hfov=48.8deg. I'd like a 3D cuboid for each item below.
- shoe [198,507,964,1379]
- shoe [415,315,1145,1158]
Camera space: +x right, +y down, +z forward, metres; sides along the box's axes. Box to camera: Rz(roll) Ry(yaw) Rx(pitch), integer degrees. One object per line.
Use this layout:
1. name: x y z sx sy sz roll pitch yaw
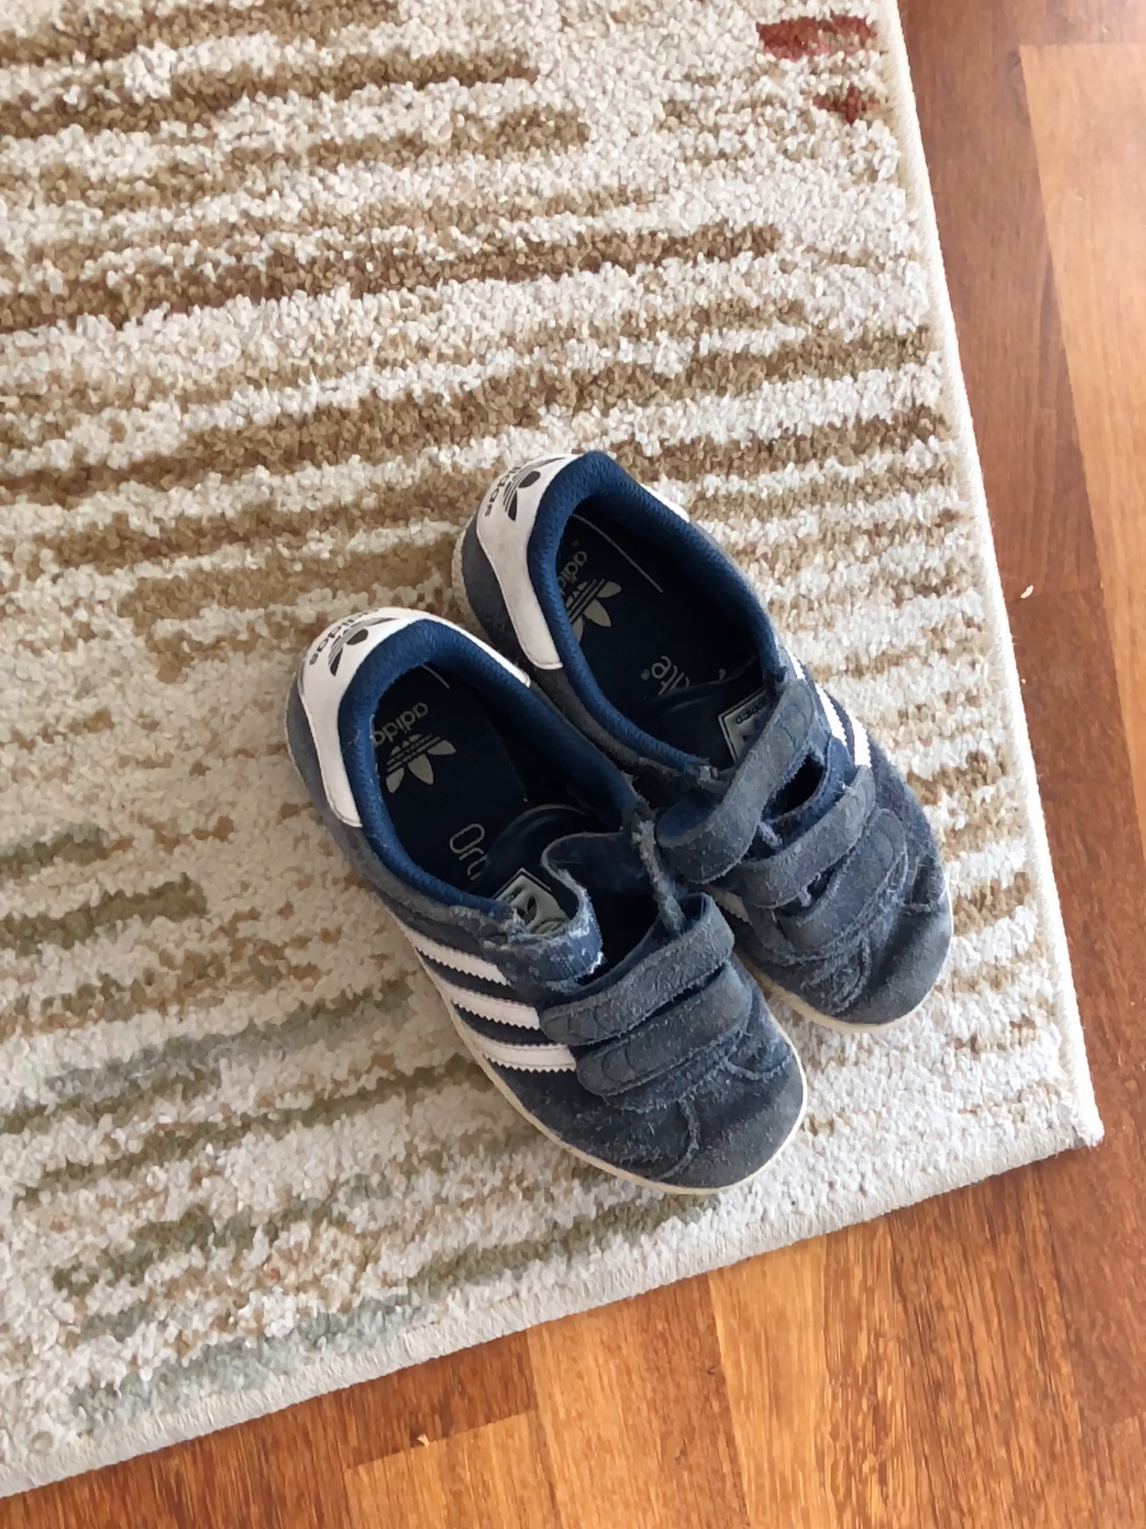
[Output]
1. shoe: 0.003 0.048 0.344 0.084 0.053 0.216 -39 99 -12
2. shoe: 0.061 -0.004 0.359 0.086 0.052 0.219 -41 99 -12
